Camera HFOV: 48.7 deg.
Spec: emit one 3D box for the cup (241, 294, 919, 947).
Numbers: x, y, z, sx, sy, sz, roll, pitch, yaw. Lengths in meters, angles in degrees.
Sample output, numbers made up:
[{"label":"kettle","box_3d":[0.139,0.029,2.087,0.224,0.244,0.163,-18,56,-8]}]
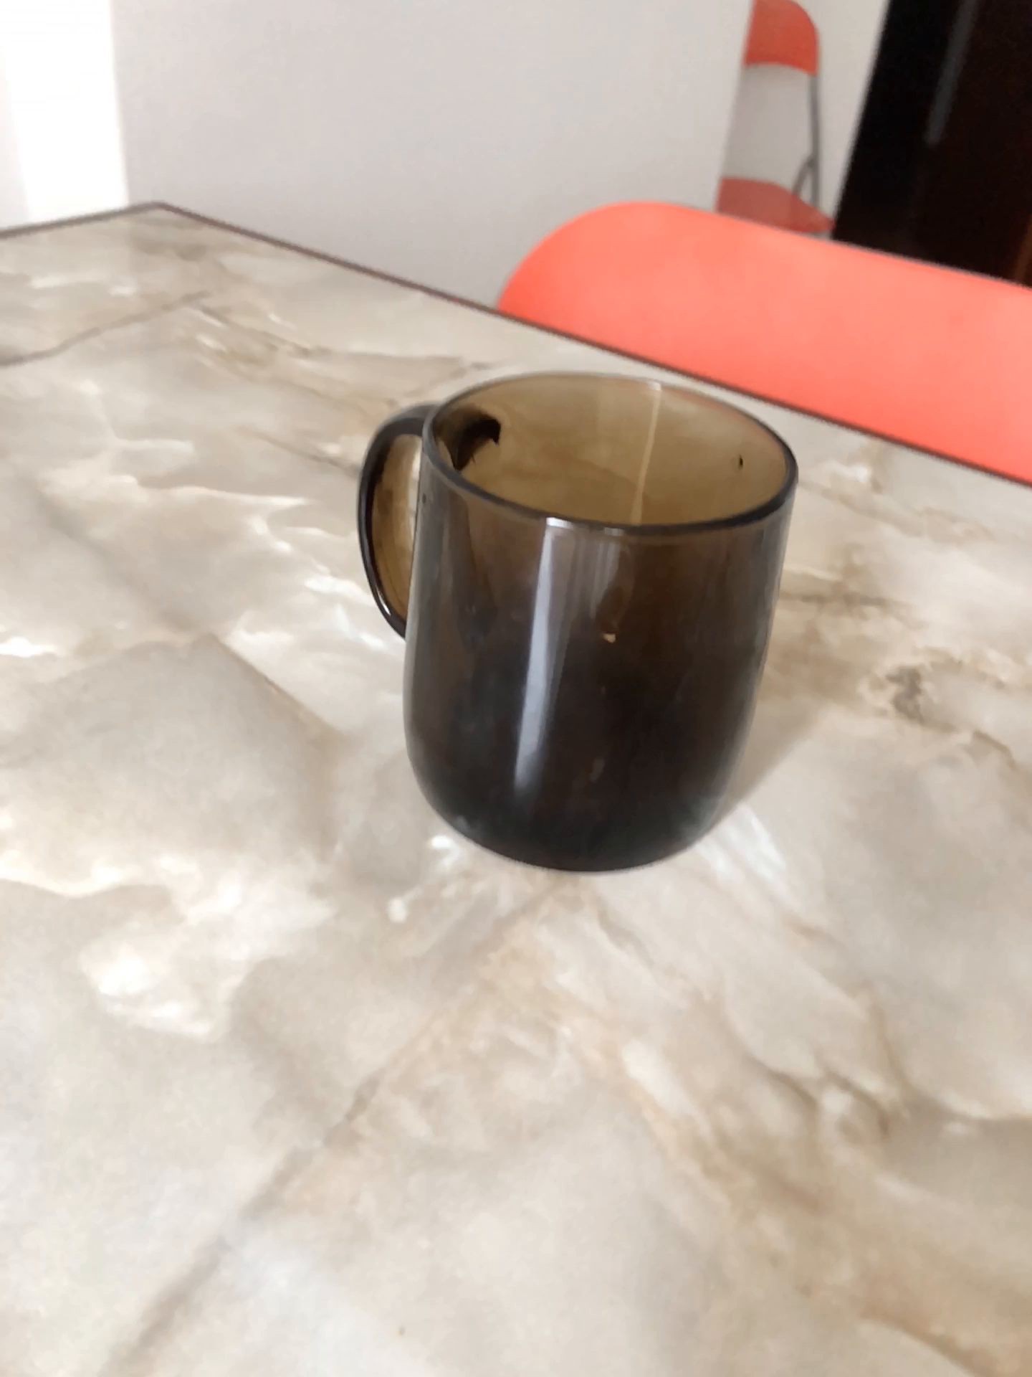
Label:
[{"label":"cup","box_3d":[0.008,-0.027,0.277,0.091,0.090,0.123,-25,46,-37]}]
